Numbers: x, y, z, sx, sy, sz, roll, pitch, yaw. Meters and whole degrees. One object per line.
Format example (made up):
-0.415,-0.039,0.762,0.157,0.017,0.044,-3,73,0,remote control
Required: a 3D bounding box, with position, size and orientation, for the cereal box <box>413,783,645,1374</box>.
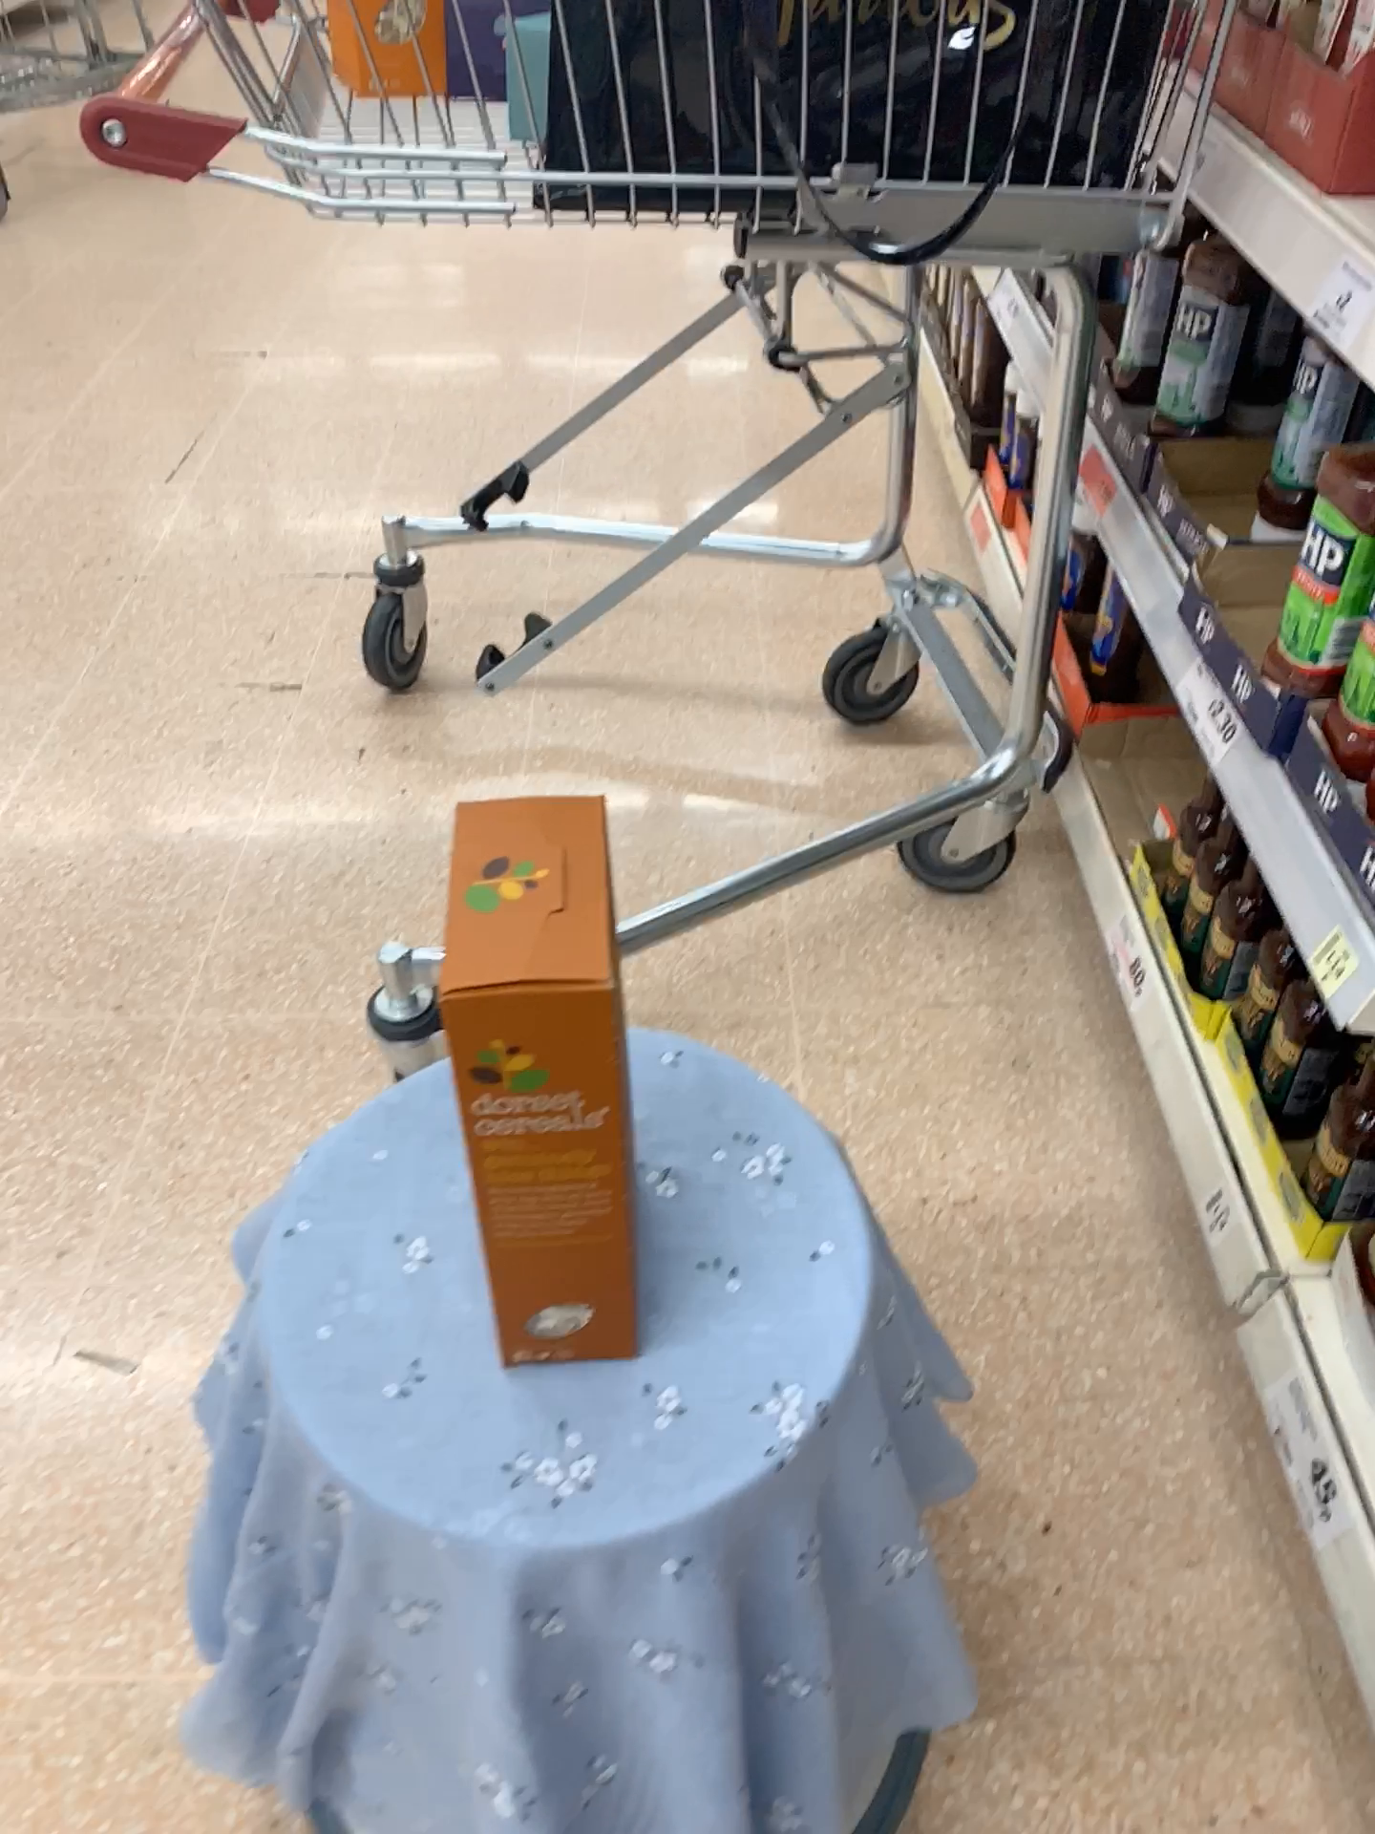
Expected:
-0.060,0.074,0.591,0.070,0.228,0.121,-4,41,-3,cereal box
